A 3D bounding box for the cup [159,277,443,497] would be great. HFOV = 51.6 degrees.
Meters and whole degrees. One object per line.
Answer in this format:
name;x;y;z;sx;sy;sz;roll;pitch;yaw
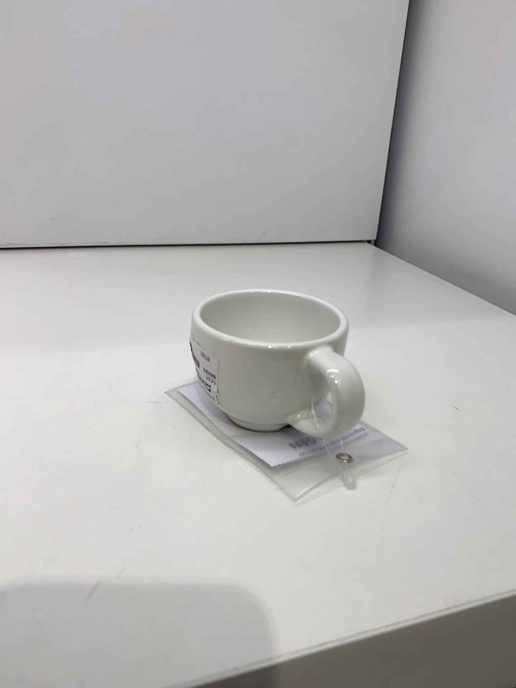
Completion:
cup;0.012;0.008;0.205;0.070;0.040;0.080;-13;28;-34
